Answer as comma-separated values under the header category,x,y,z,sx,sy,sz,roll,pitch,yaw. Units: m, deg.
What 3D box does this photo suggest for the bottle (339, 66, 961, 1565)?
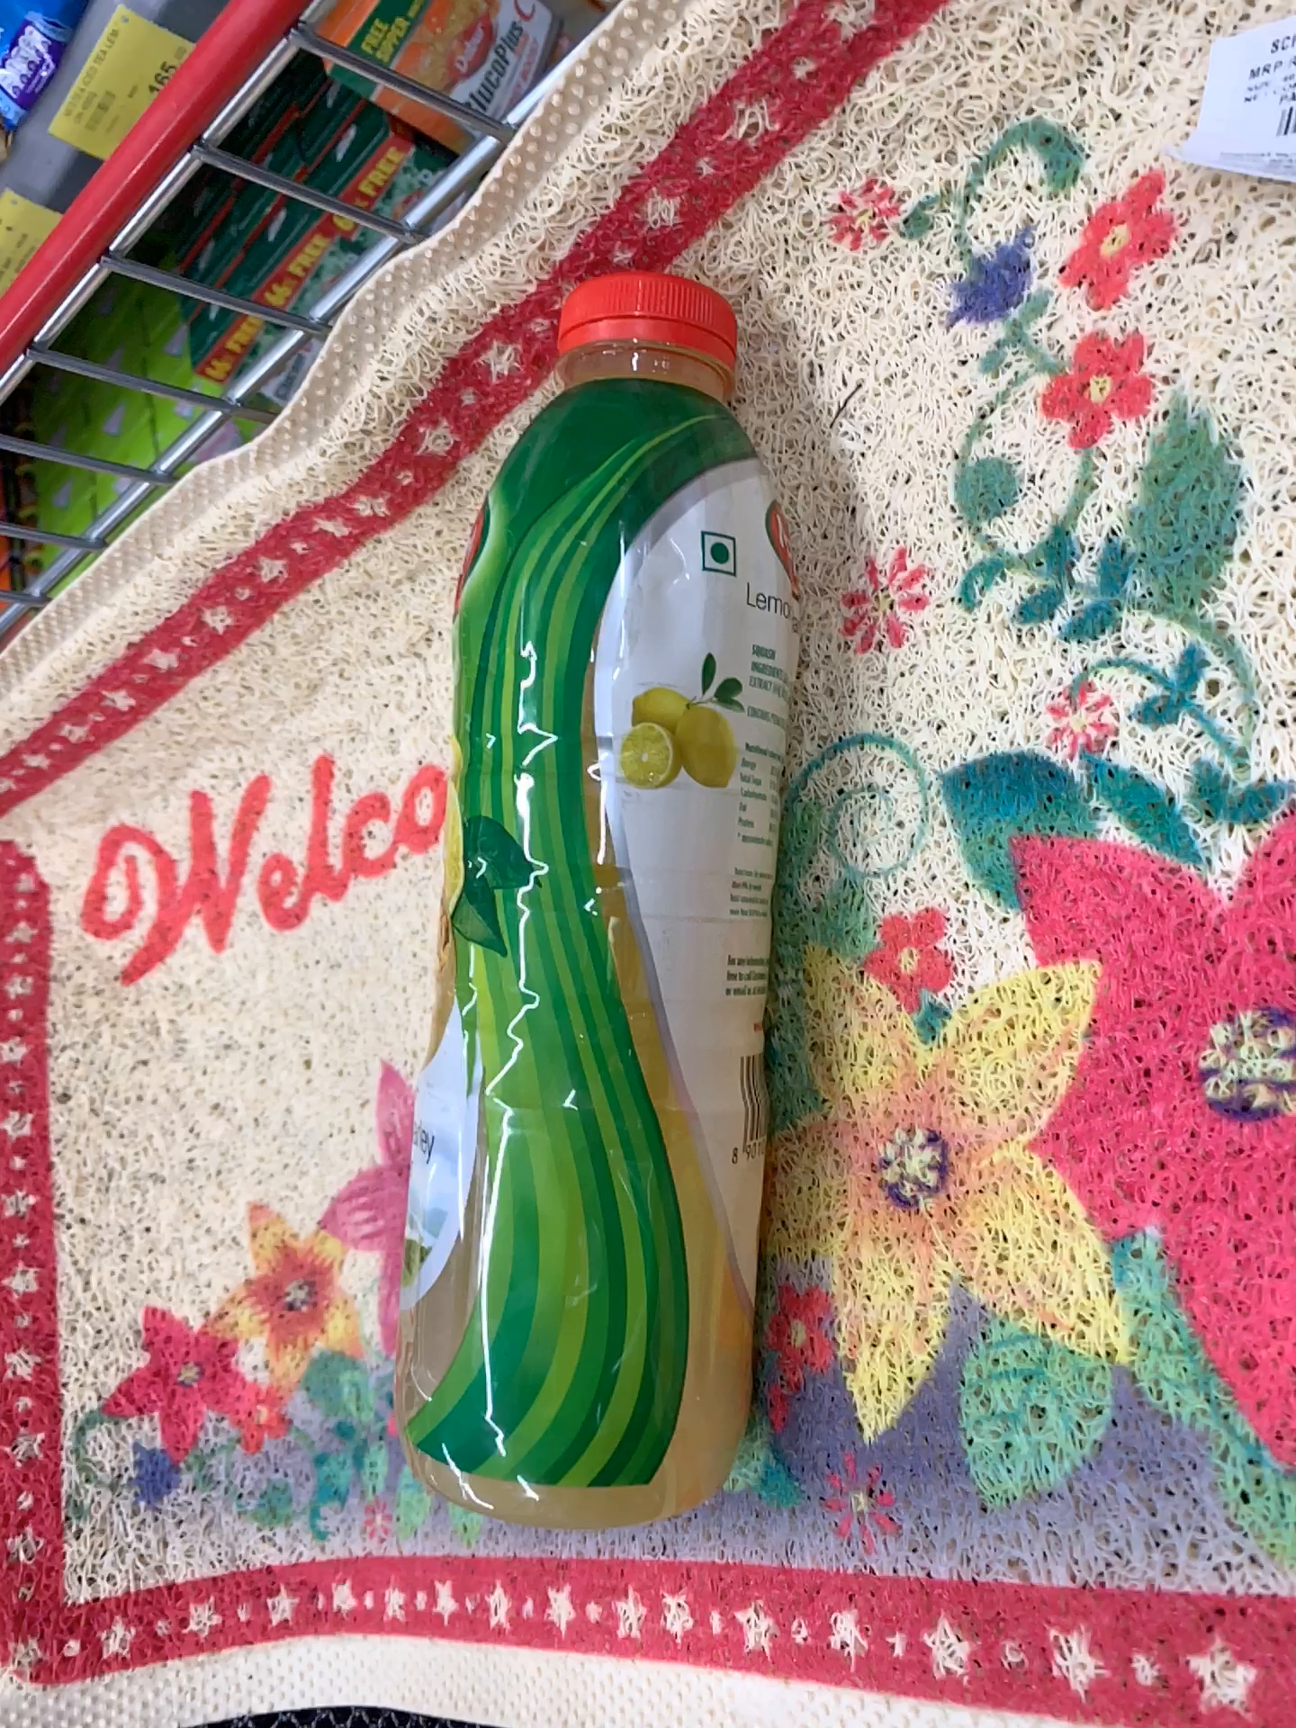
category,x,y,z,sx,sy,sz,roll,pitch,yaw
bottle,-0.004,-0.007,0.288,0.080,0.090,0.270,172,104,-80
